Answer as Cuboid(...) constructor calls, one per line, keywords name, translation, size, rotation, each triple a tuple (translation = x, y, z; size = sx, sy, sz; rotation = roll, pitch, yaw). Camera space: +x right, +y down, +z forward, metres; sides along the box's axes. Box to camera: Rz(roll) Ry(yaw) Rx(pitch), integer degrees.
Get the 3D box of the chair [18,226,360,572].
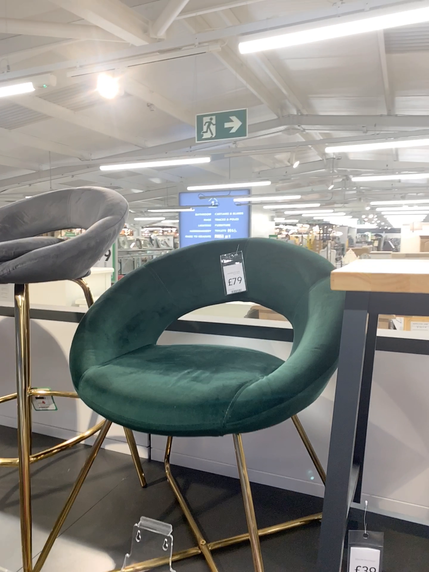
Cuboid(name="chair", translation=(-0.008, 0.257, 1.071), size=(0.629, 0.775, 0.555), rotation=(2, 5, 23))
